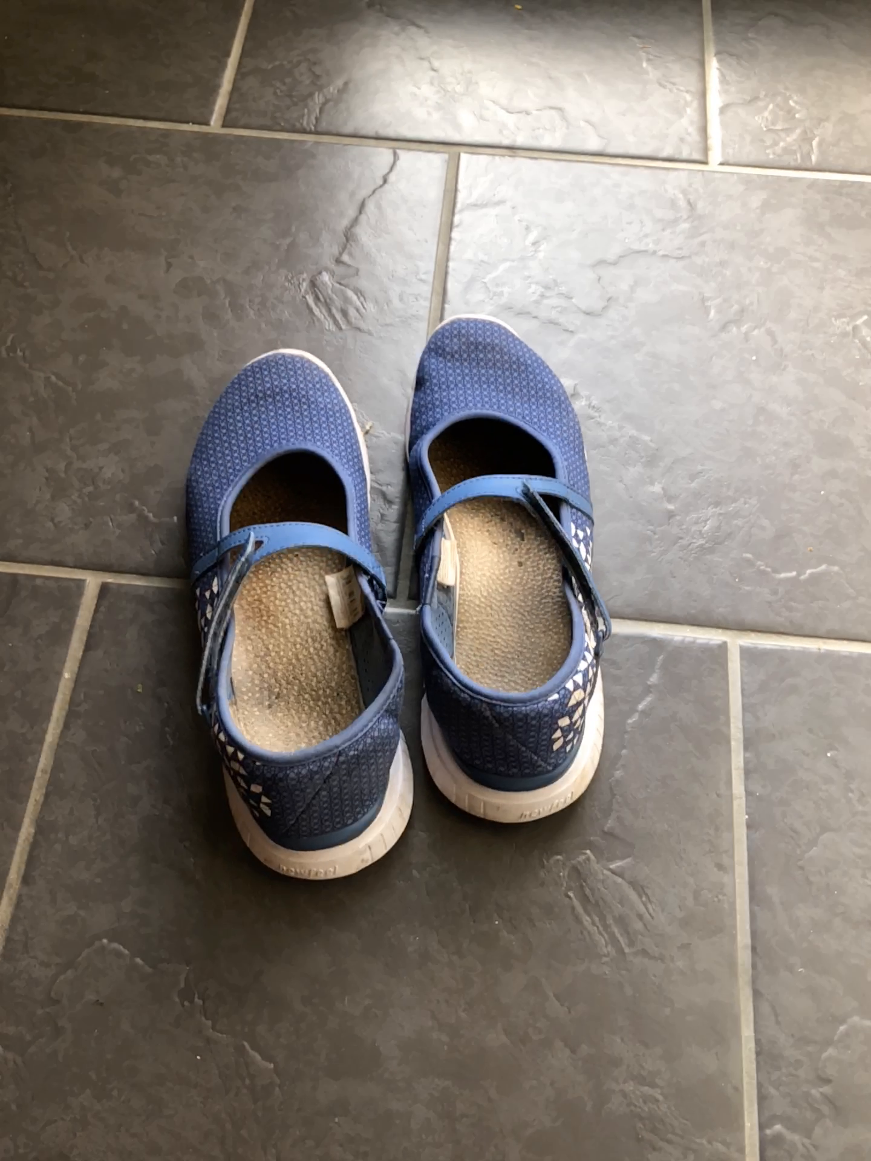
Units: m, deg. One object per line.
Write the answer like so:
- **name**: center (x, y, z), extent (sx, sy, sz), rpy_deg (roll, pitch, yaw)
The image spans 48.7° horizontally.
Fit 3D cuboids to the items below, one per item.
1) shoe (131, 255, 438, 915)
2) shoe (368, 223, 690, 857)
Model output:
- **shoe**: center (-0.076, -0.001, 0.475), extent (0.110, 0.120, 0.291), rpy_deg (-8, 65, -4)
- **shoe**: center (0.032, -0.024, 0.486), extent (0.110, 0.120, 0.291), rpy_deg (-4, 65, -2)
